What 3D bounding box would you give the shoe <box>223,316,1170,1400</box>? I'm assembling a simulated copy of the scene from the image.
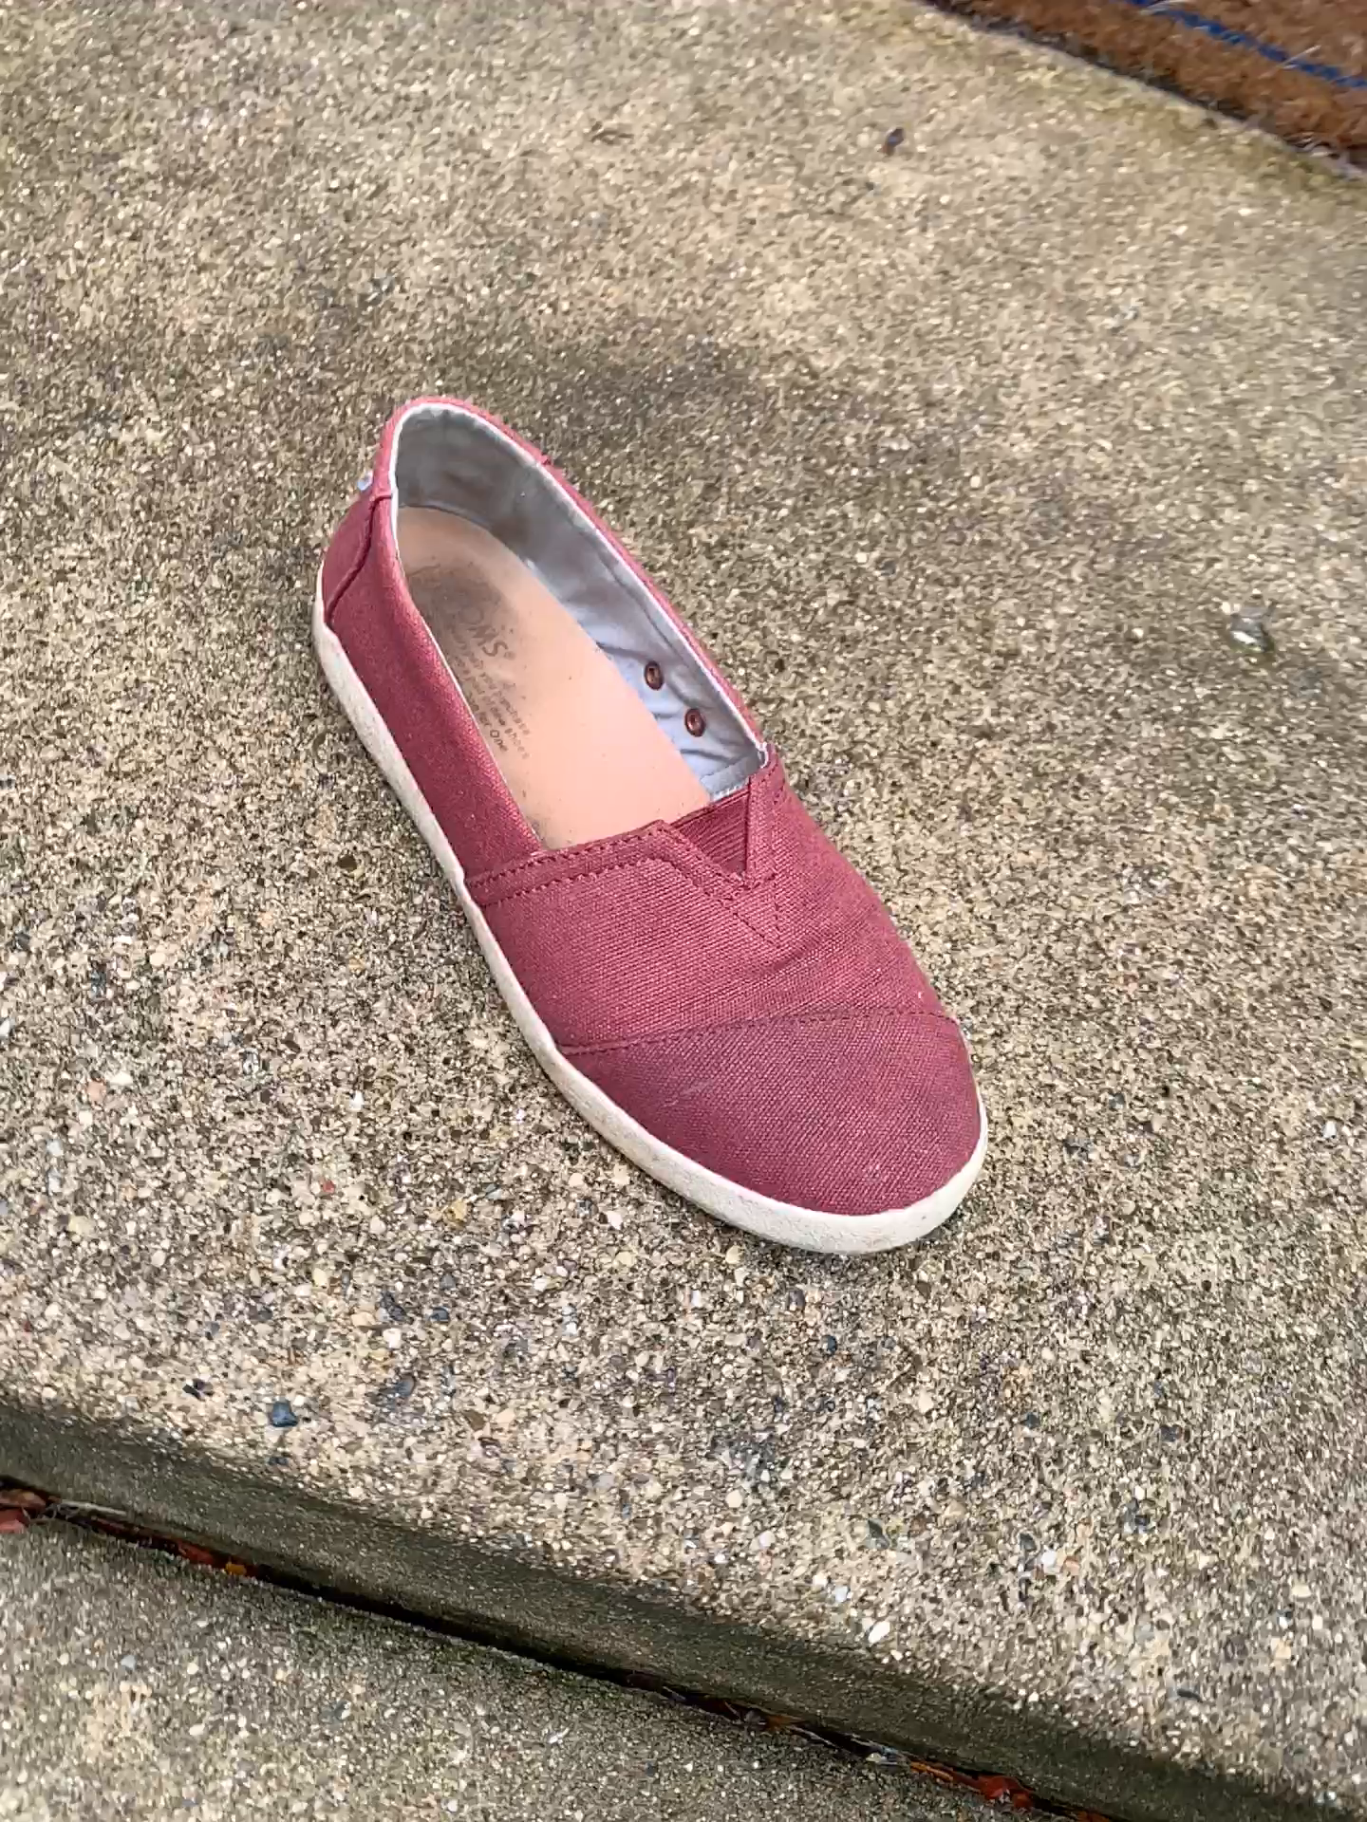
[{"bbox_3d":[-0.014,-0.024,0.371,0.098,0.089,0.265,-26,69,-27],"label":"shoe"}]
